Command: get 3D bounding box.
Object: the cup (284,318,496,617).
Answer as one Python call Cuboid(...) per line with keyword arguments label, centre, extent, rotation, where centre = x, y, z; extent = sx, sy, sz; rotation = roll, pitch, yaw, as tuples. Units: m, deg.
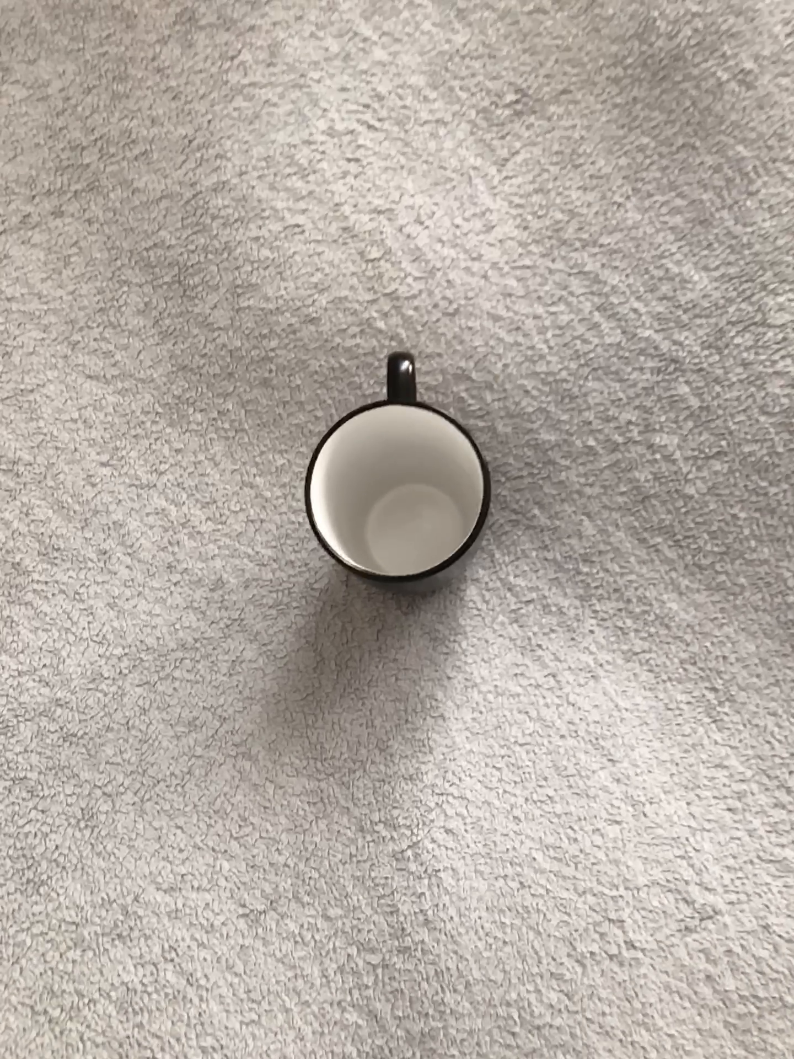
Cuboid(label="cup", centre=(0.002, -0.026, 0.444), extent=(0.090, 0.090, 0.128), rotation=(-1, 76, 9))
